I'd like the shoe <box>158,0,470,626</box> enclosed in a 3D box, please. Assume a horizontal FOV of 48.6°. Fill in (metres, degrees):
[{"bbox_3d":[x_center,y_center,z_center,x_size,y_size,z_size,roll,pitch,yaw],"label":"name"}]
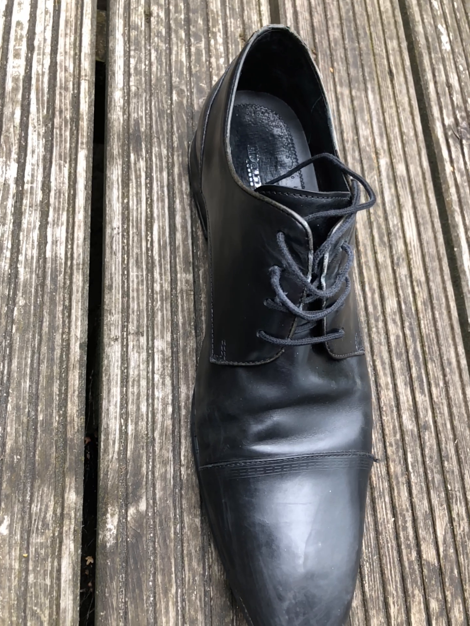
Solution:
[{"bbox_3d":[0.022,-0.002,0.290,0.090,0.149,0.341,1,72,-19],"label":"shoe"}]
